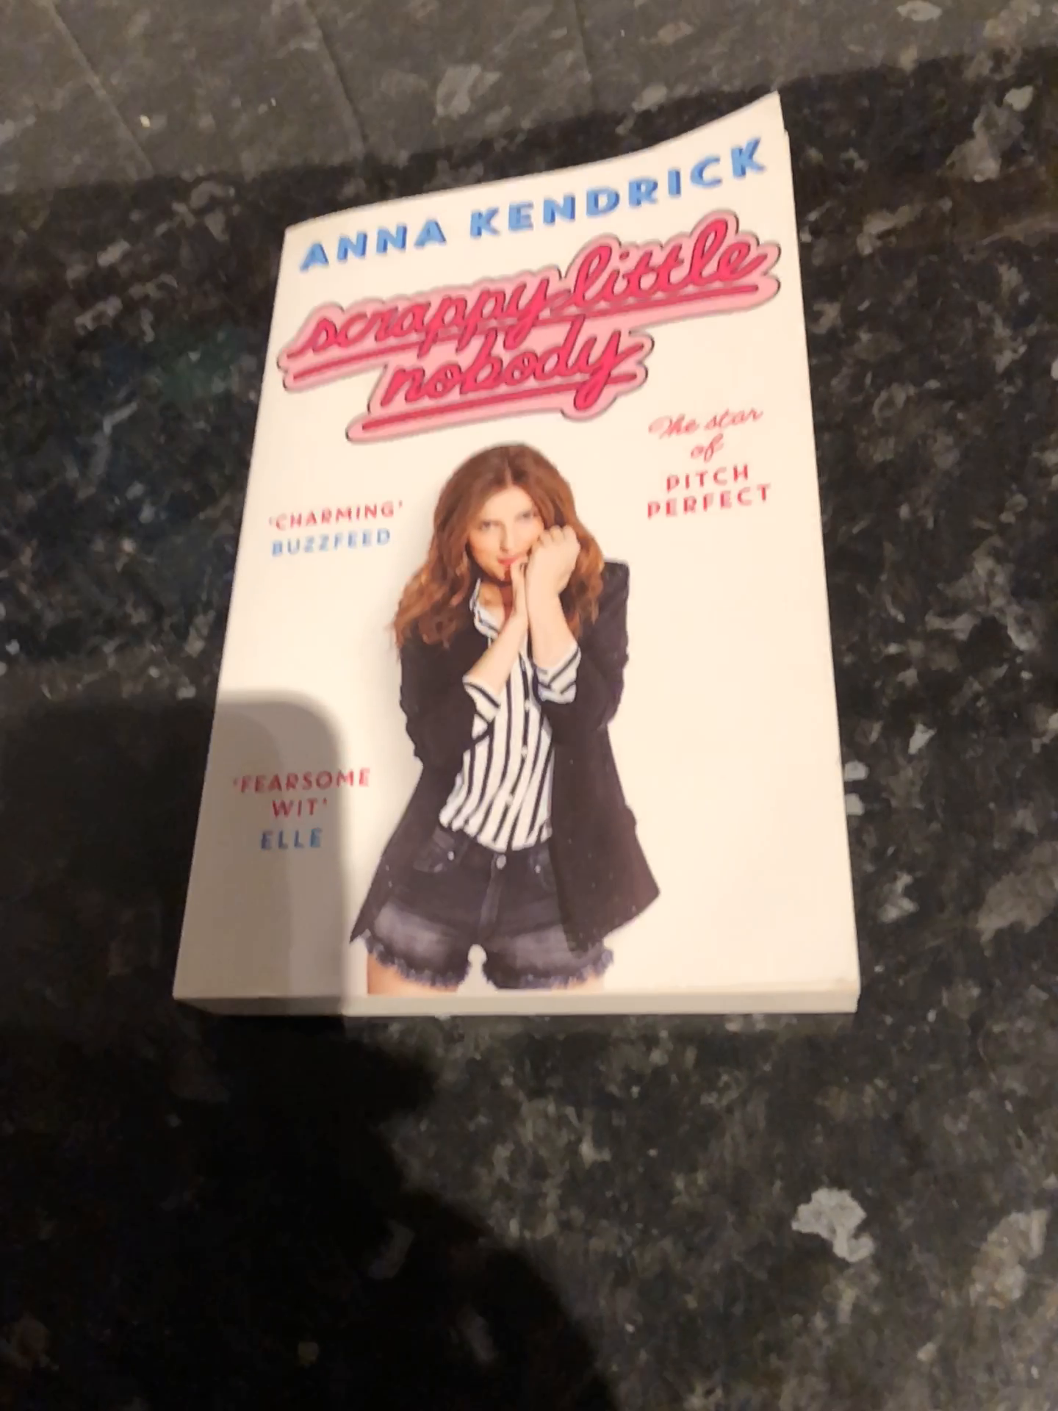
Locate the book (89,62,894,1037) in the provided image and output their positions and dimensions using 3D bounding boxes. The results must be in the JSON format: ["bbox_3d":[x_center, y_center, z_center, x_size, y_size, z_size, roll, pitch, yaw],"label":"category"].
[{"bbox_3d":[-0.003,-0.038,0.263,0.140,0.050,0.211,-3,65,12],"label":"book"}]
